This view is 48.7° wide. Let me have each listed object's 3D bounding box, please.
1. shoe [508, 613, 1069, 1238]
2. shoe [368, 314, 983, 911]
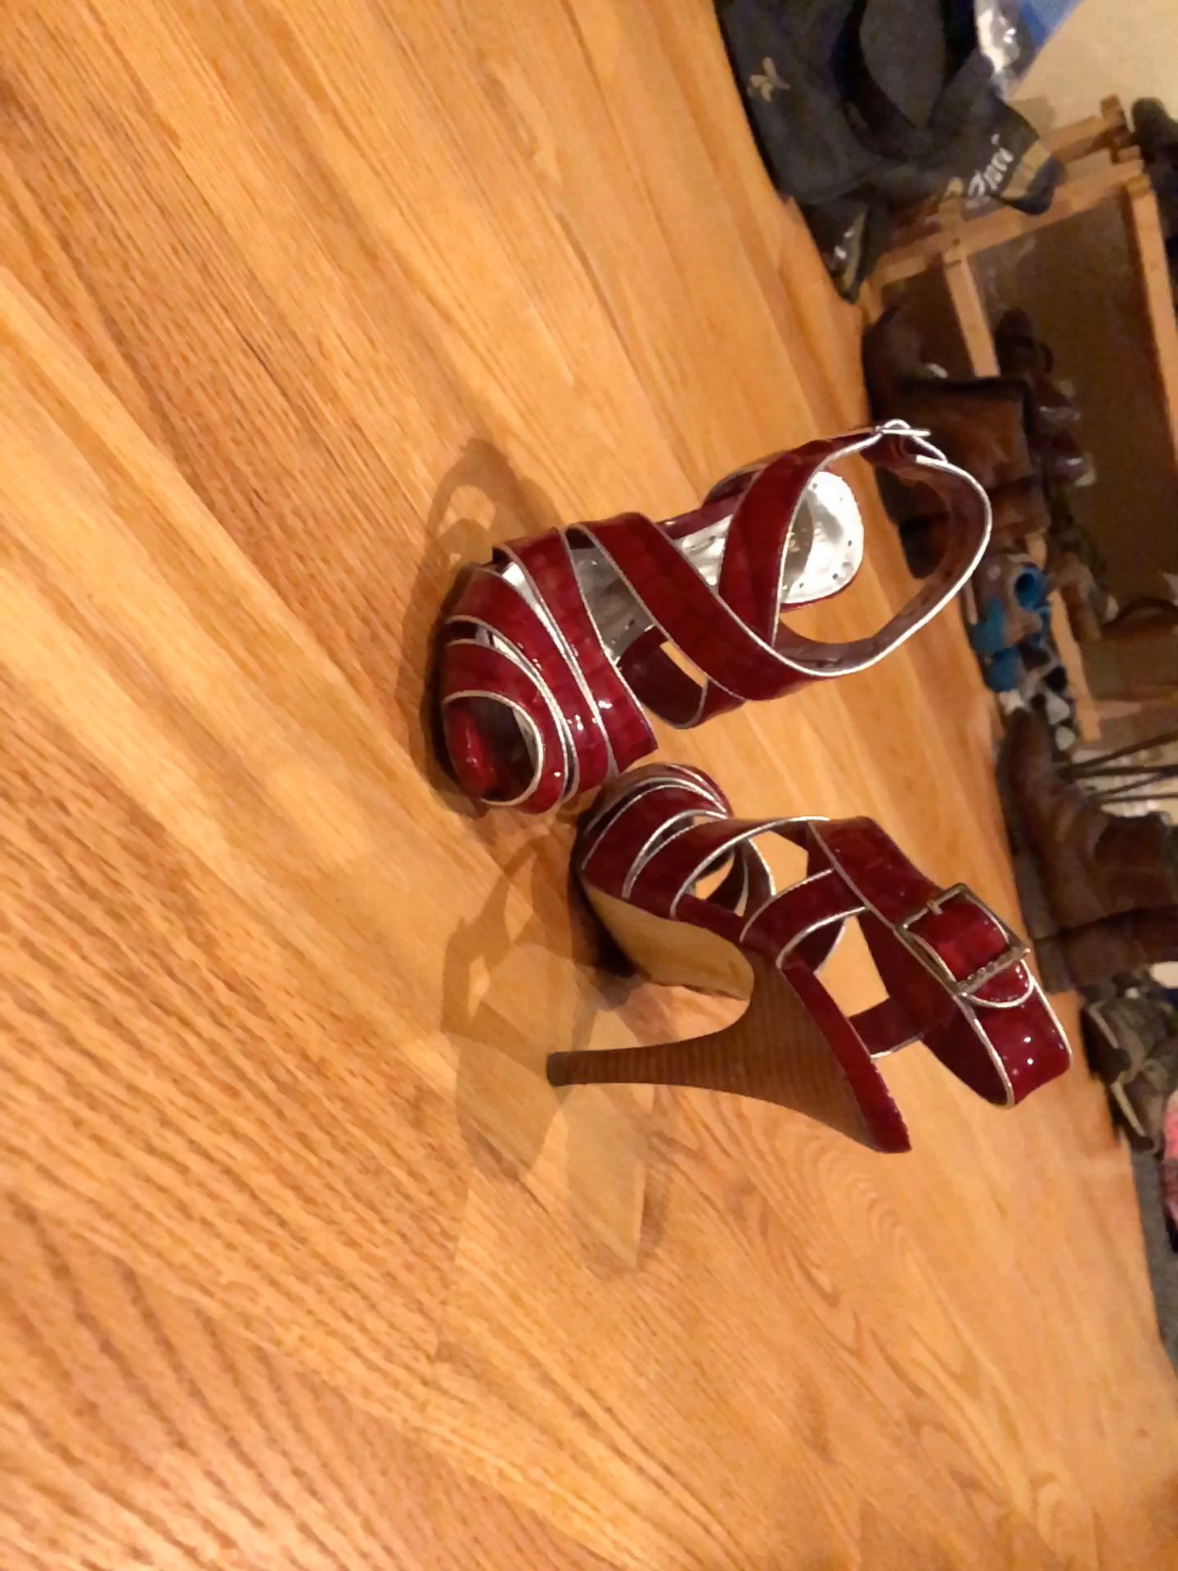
[{"bbox_3d":[0.078,0.043,0.458,0.092,0.141,0.194,63,27,-28],"label":"shoe"},{"bbox_3d":[0.046,-0.066,0.444,0.091,0.151,0.199,65,26,-25],"label":"shoe"}]
